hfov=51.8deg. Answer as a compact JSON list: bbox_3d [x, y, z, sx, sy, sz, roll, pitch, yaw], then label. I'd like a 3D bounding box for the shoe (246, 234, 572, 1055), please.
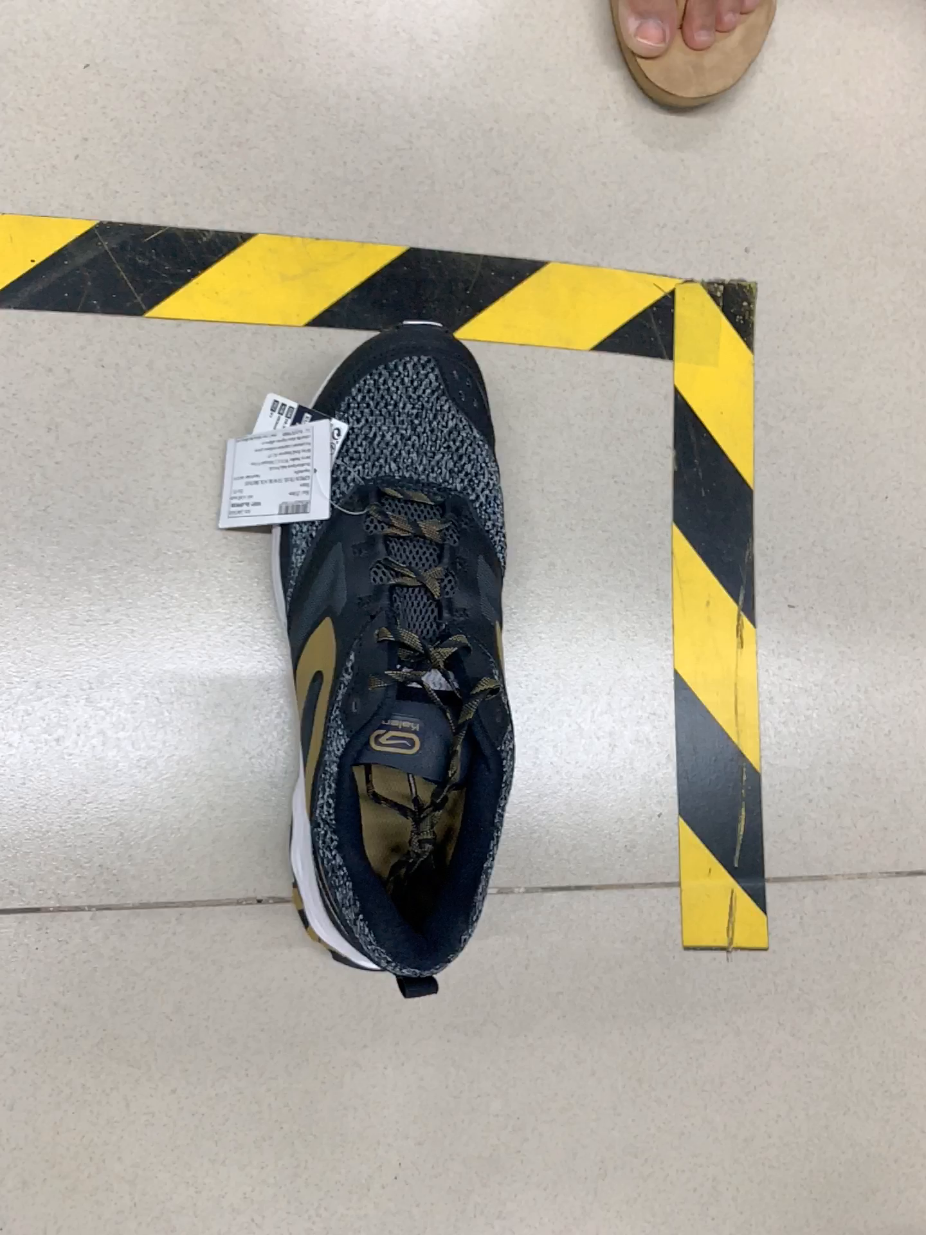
[{"bbox_3d":[-0.026,0.011,0.406,0.110,0.100,0.300,4,83,-12],"label":"shoe"}]
